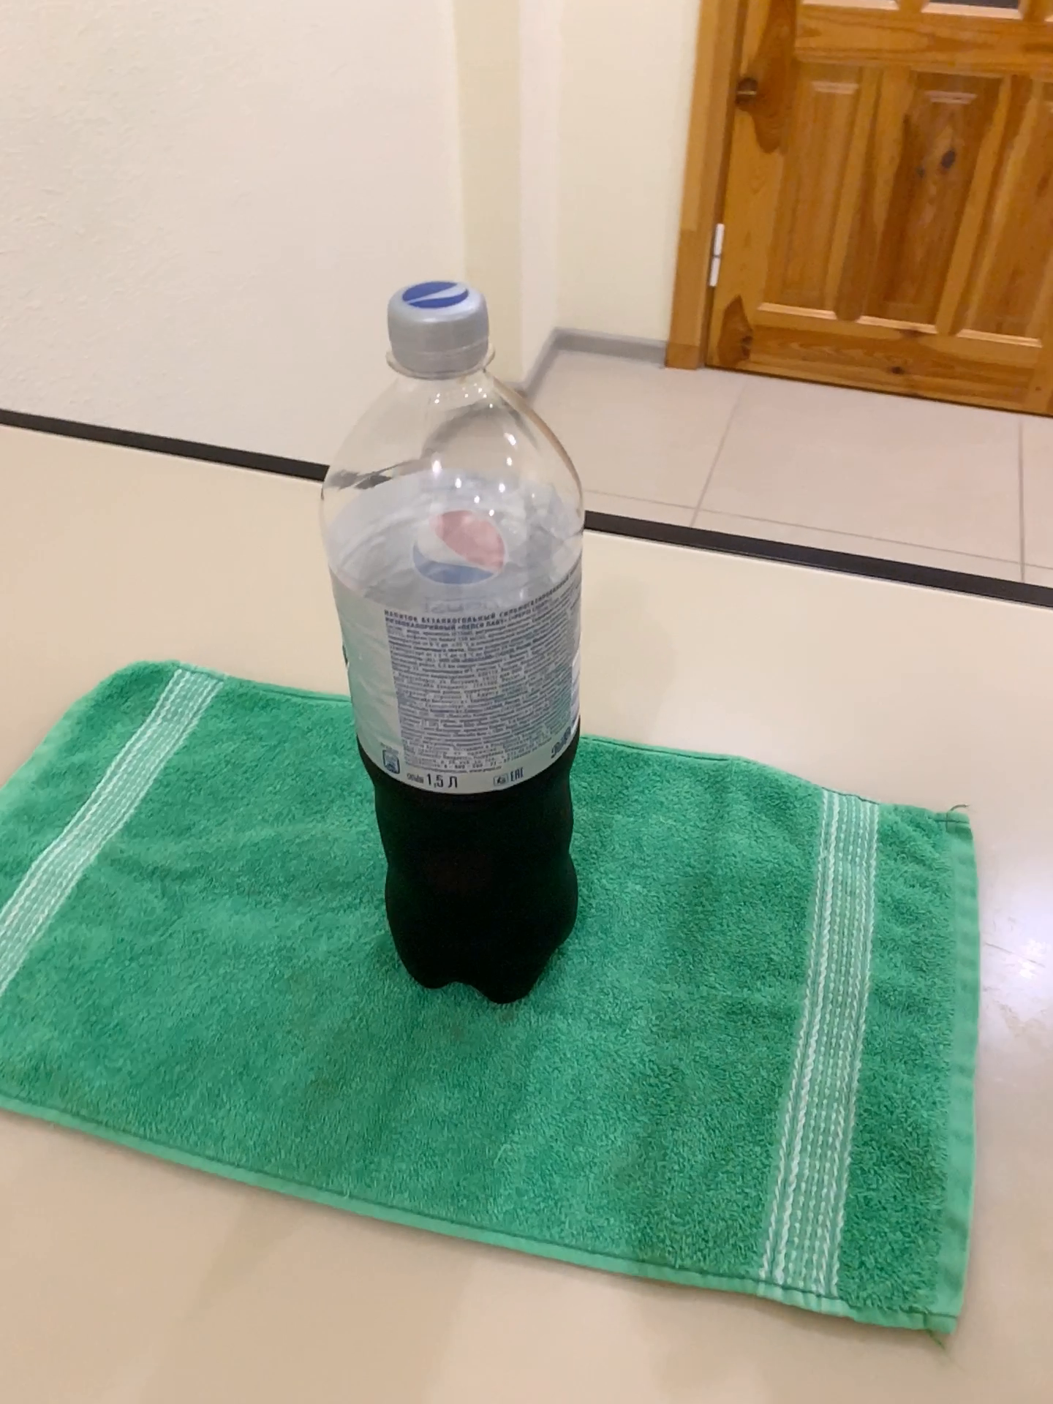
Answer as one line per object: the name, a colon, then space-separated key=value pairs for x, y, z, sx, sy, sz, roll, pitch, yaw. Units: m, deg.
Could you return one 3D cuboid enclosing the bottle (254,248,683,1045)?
bottle: x=-0.021 y=-0.001 z=0.423 sx=0.100 sy=0.298 sz=0.101 roll=0 pitch=44 yaw=0
